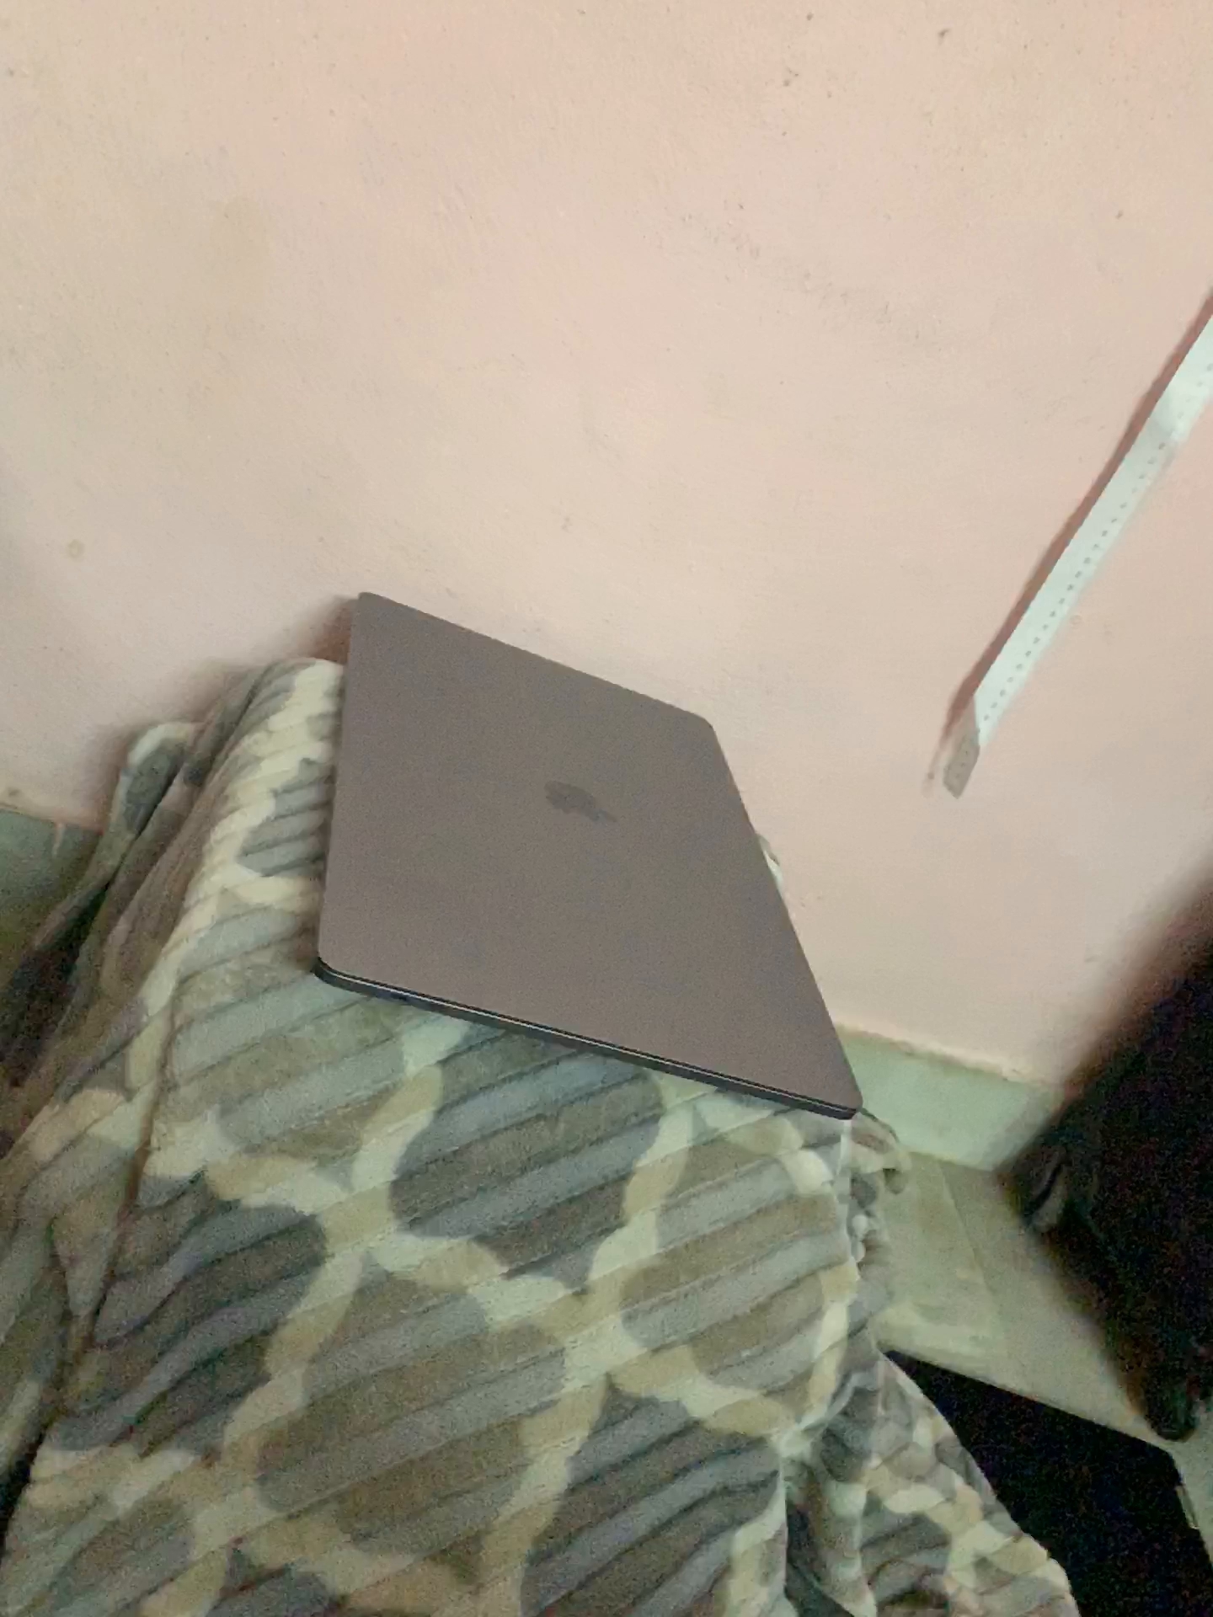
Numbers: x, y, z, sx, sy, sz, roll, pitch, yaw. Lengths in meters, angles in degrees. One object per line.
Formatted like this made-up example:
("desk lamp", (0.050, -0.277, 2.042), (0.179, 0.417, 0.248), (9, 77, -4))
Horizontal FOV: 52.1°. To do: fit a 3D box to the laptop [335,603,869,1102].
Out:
("laptop", (-0.014, 0.001, 0.622), (0.228, 0.002, 0.327), (17, 29, -18))
